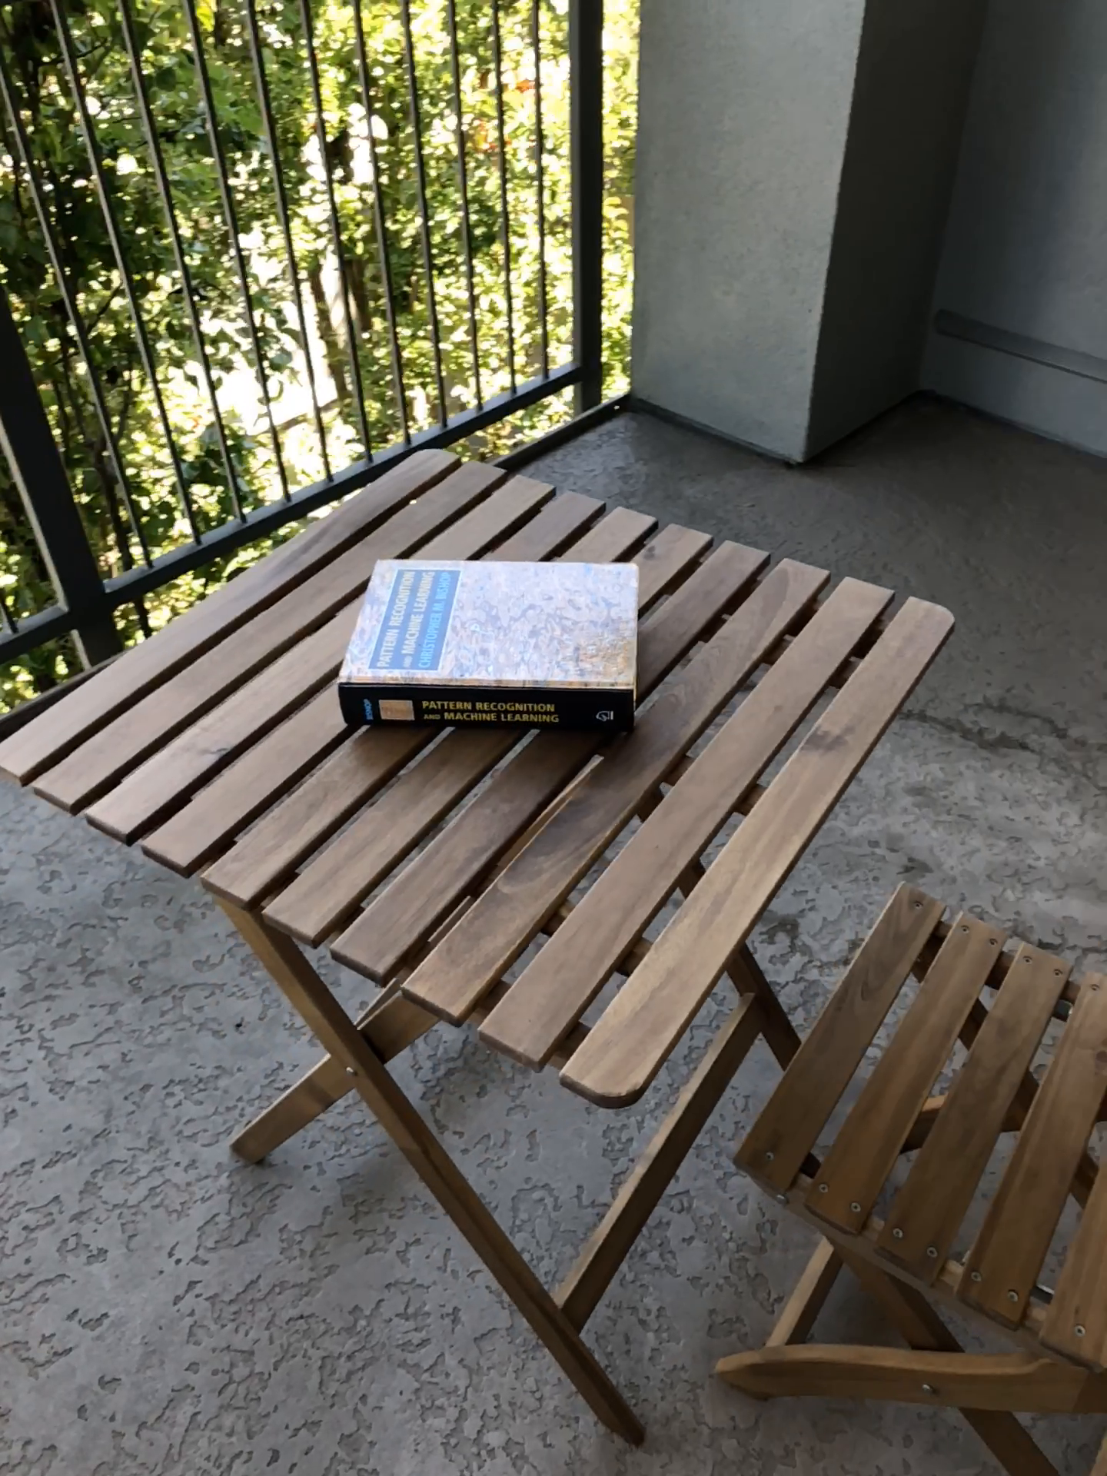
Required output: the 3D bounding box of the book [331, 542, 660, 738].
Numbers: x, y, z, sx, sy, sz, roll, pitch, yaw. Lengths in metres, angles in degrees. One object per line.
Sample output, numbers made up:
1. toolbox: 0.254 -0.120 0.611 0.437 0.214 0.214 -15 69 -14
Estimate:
1. book: -0.038 -0.086 1.013 0.250 0.050 0.191 2 42 4
